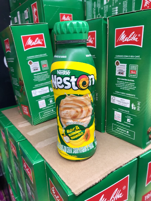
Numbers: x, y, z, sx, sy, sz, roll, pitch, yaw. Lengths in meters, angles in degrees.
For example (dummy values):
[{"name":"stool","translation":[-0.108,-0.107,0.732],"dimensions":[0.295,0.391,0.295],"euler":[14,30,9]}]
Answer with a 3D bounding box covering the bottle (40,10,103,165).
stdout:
[{"name":"bottle","translation":[0.002,-0.014,0.228],"dimensions":[0.060,0.179,0.060],"euler":[-2,16,1]}]
